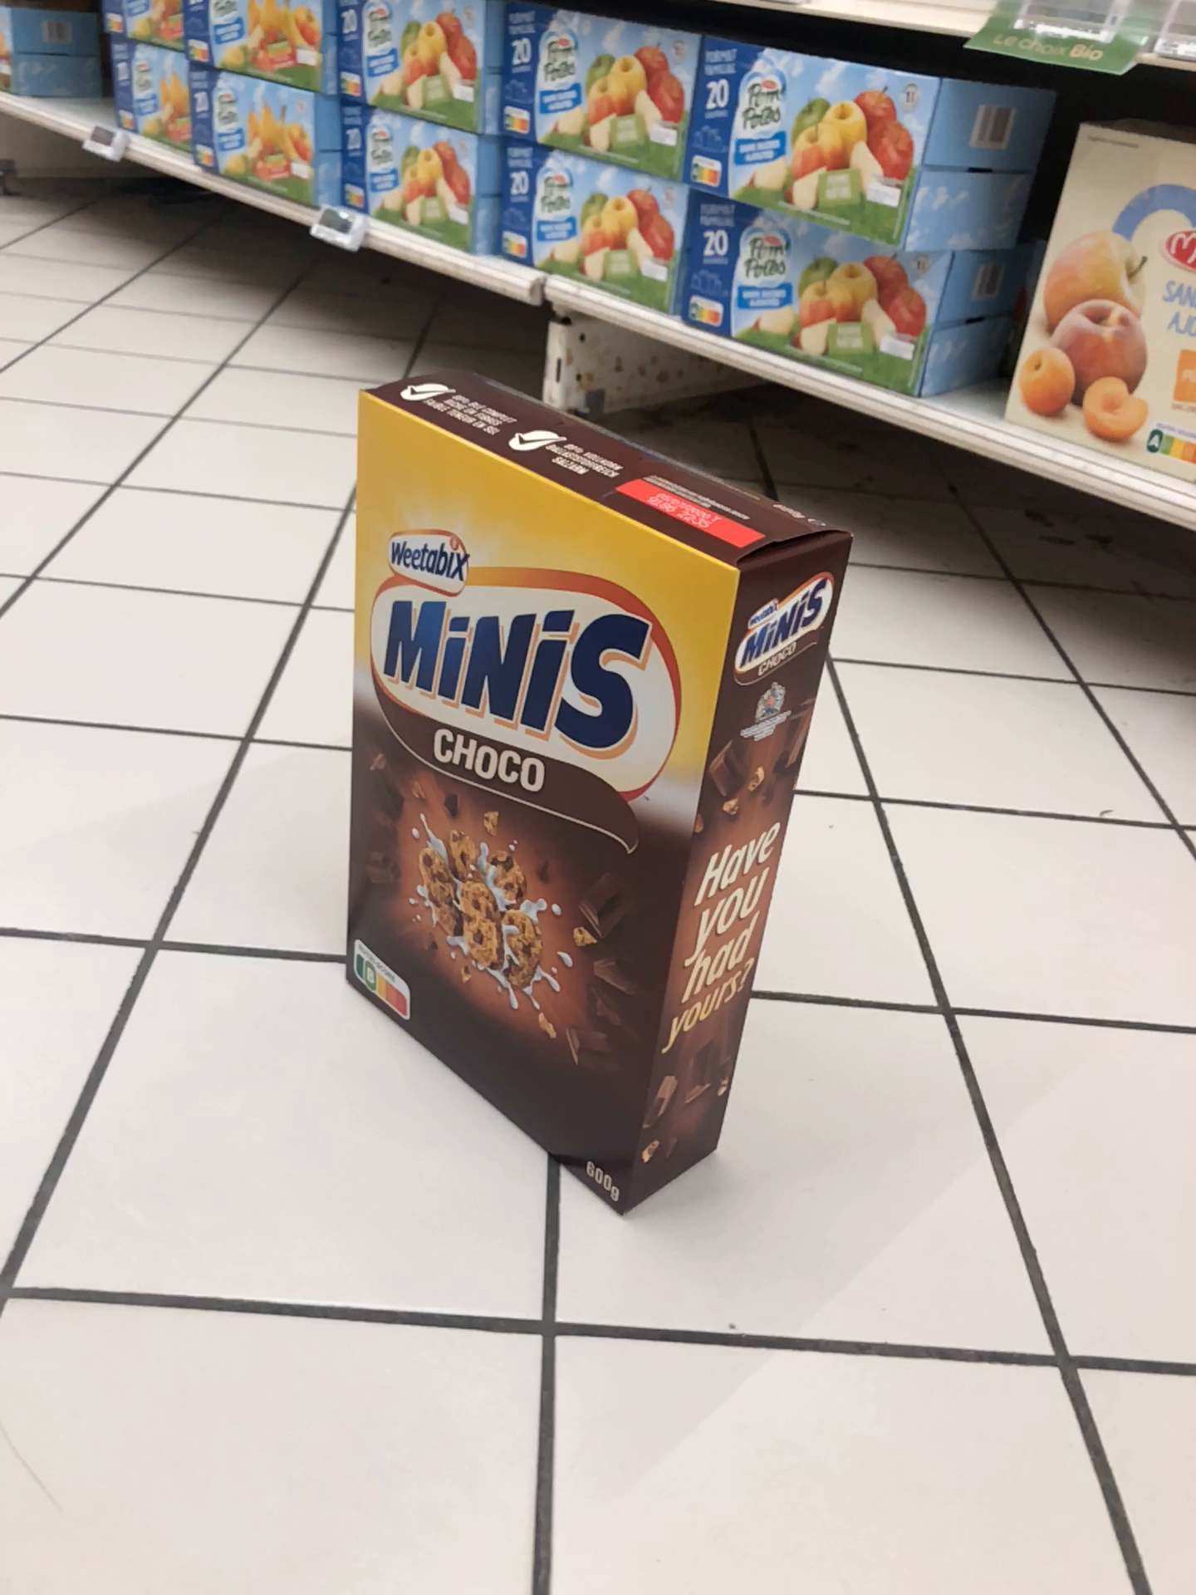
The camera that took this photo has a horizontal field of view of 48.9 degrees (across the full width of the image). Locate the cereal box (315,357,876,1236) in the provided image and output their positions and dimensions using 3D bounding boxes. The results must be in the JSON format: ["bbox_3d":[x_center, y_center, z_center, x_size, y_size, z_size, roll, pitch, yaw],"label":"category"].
[{"bbox_3d":[-0.023,-0.003,0.535,0.080,0.288,0.200,-23,43,-40],"label":"cereal box"}]
